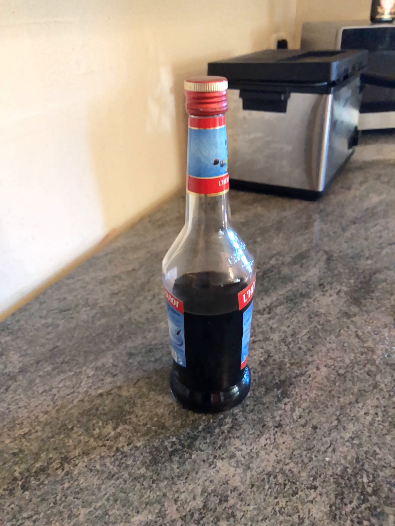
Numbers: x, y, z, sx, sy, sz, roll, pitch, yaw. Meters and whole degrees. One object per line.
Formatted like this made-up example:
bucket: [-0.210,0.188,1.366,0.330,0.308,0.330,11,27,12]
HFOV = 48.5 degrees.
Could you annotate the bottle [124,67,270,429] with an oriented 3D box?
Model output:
bottle: [0.000,-0.003,0.383,0.090,0.298,0.090,-2,28,1]
